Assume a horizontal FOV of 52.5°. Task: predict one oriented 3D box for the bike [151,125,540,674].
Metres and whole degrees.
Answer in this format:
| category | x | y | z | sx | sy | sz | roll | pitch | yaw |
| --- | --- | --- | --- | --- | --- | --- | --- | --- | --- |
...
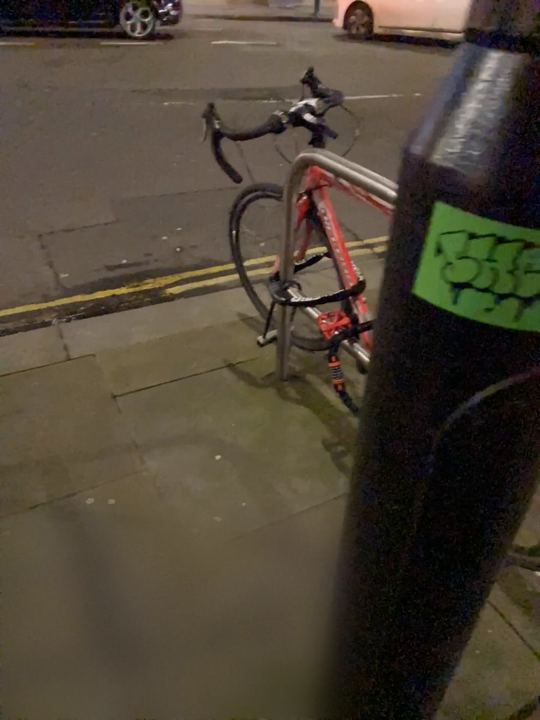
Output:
| category | x | y | z | sx | sy | sz | roll | pitch | yaw |
| --- | --- | --- | --- | --- | --- | --- | --- | --- | --- |
| bike | 0.215 | -0.110 | 1.692 | 0.538 | 0.809 | 1.666 | -17 | 39 | -24 |
